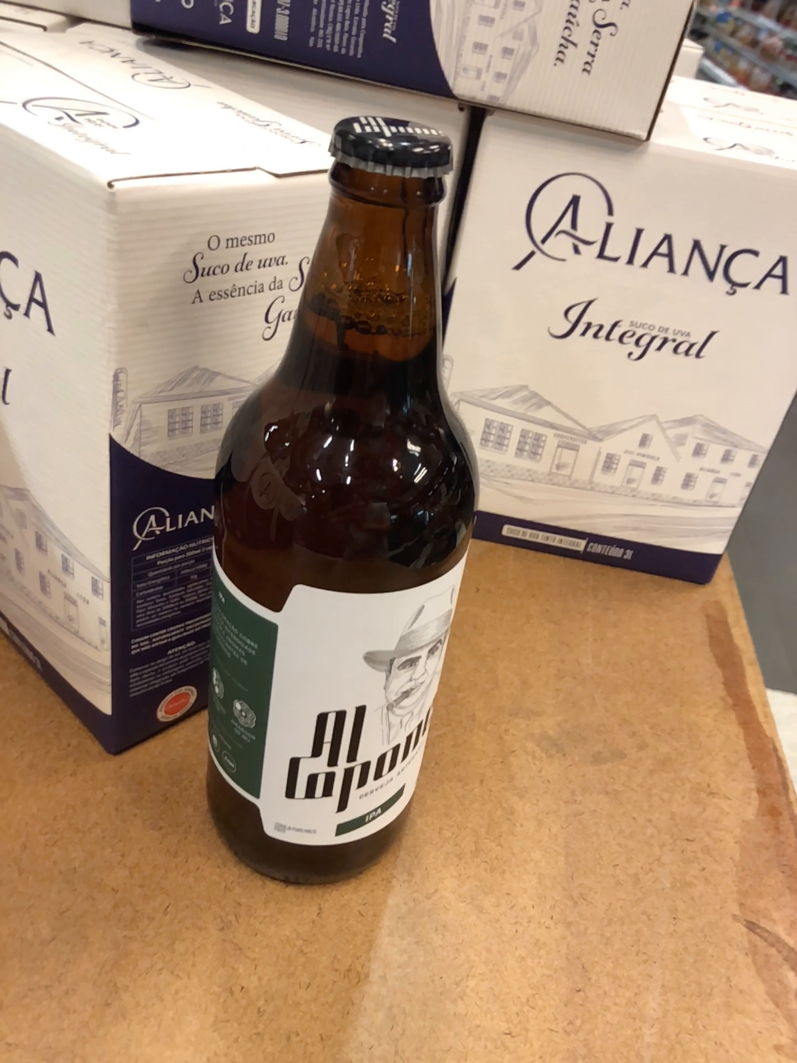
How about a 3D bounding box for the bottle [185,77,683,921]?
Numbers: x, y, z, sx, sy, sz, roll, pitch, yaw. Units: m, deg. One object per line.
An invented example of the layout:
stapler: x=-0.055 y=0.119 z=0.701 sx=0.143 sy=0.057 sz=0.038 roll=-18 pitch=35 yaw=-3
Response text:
bottle: x=-0.008 y=0.003 z=0.258 sx=0.080 sy=0.228 sz=0.070 roll=-16 pitch=43 yaw=-32
